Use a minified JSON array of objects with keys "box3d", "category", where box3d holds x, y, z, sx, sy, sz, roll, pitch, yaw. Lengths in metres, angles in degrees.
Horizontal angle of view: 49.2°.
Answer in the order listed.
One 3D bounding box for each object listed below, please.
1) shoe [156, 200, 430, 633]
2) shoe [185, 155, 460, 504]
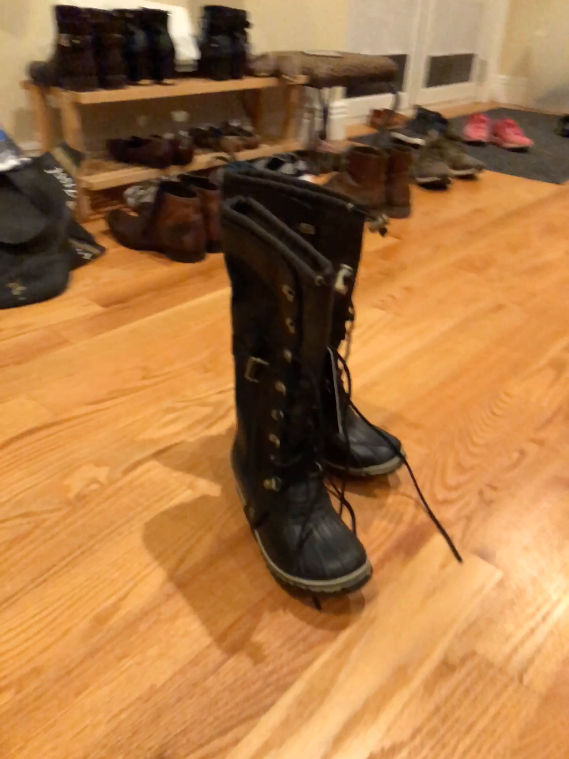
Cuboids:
[{"box3d":[-0.014,0.022,0.593,0.100,0.308,0.261,-17,36,-28],"category":"shoe"},{"box3d":[0.029,-0.059,0.711,0.260,0.328,0.100,19,35,25],"category":"shoe"}]
